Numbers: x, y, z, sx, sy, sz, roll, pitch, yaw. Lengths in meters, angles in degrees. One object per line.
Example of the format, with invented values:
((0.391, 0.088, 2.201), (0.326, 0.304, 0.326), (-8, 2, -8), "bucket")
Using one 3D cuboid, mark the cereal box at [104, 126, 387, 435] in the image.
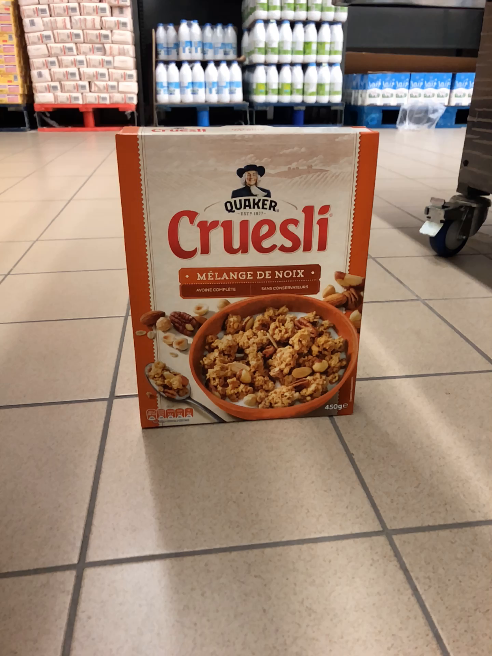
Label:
((-0.001, -0.036, 0.457), (0.200, 0.249, 0.060), (-1, 23, -4), "cereal box")
